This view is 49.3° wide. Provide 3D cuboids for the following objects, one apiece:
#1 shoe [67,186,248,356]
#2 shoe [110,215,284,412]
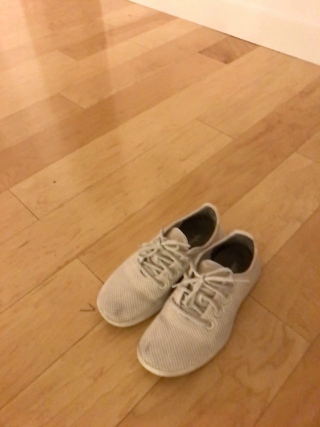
[{"bbox_3d":[0.007,0.081,0.583,0.291,0.079,0.110,-35,56,-26],"label":"shoe"},{"bbox_3d":[0.066,0.136,0.538,0.110,0.079,0.281,31,56,26],"label":"shoe"}]
